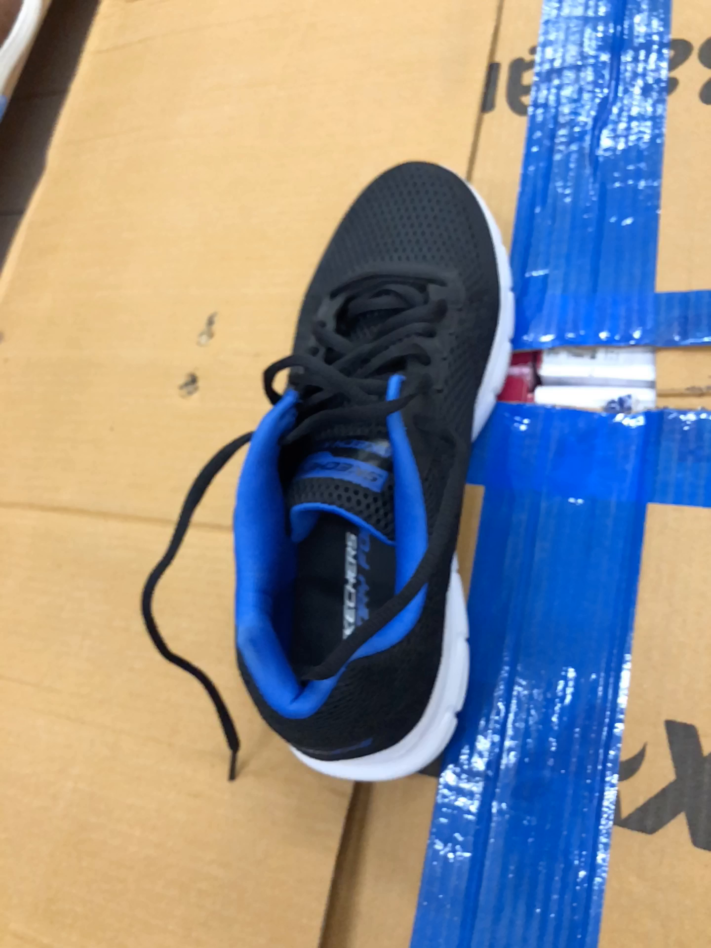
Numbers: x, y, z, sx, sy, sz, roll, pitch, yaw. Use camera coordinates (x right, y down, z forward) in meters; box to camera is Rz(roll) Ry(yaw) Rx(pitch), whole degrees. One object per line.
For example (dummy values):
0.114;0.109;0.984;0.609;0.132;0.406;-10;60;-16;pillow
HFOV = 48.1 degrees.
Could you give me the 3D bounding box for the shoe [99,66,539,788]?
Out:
0.005;-0.014;0.352;0.110;0.130;0.271;1;70;23;shoe
